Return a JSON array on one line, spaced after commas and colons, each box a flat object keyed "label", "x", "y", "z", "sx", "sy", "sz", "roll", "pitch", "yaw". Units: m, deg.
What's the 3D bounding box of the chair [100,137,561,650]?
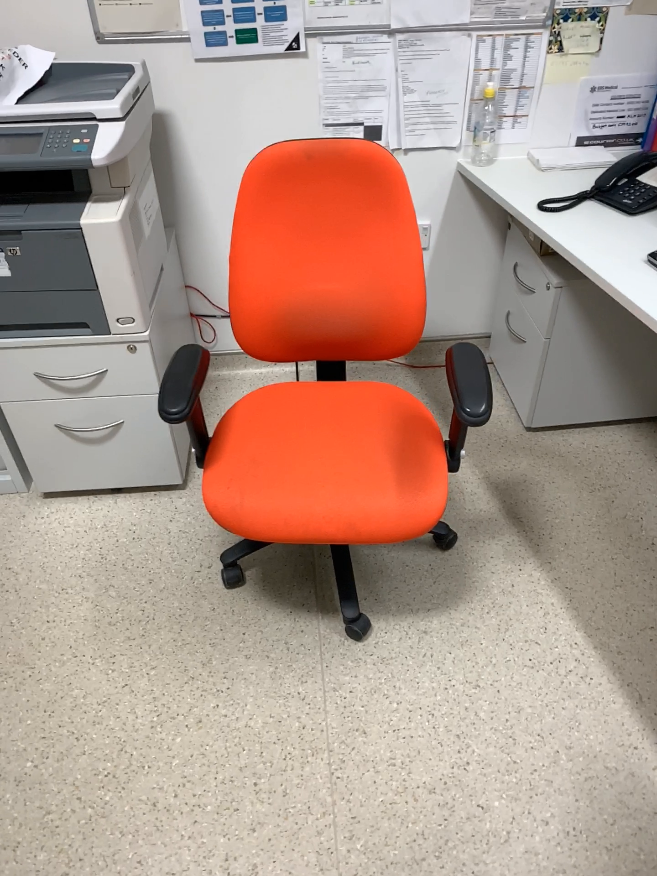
[{"label": "chair", "x": 0.026, "y": -0.095, "z": 1.491, "sx": 0.650, "sy": 0.893, "sz": 0.691, "roll": 1, "pitch": 41, "yaw": 3}]
